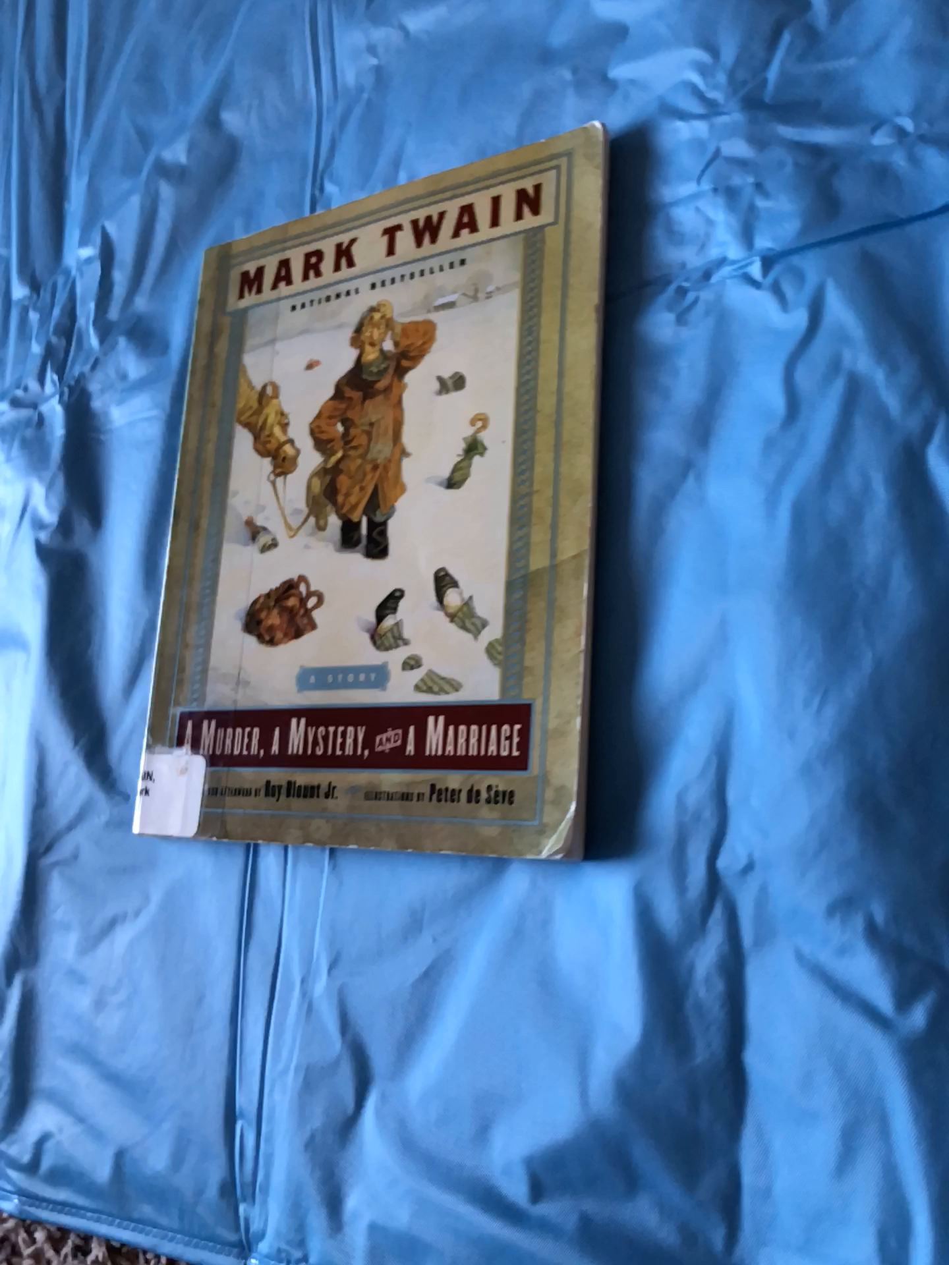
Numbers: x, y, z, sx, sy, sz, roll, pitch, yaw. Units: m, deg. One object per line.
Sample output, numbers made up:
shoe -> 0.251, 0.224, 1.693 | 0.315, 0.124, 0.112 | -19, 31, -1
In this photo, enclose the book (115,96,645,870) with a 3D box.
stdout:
book -> -0.031, -0.040, 0.321 | 0.161, 0.020, 0.210 | -3, 76, 30
